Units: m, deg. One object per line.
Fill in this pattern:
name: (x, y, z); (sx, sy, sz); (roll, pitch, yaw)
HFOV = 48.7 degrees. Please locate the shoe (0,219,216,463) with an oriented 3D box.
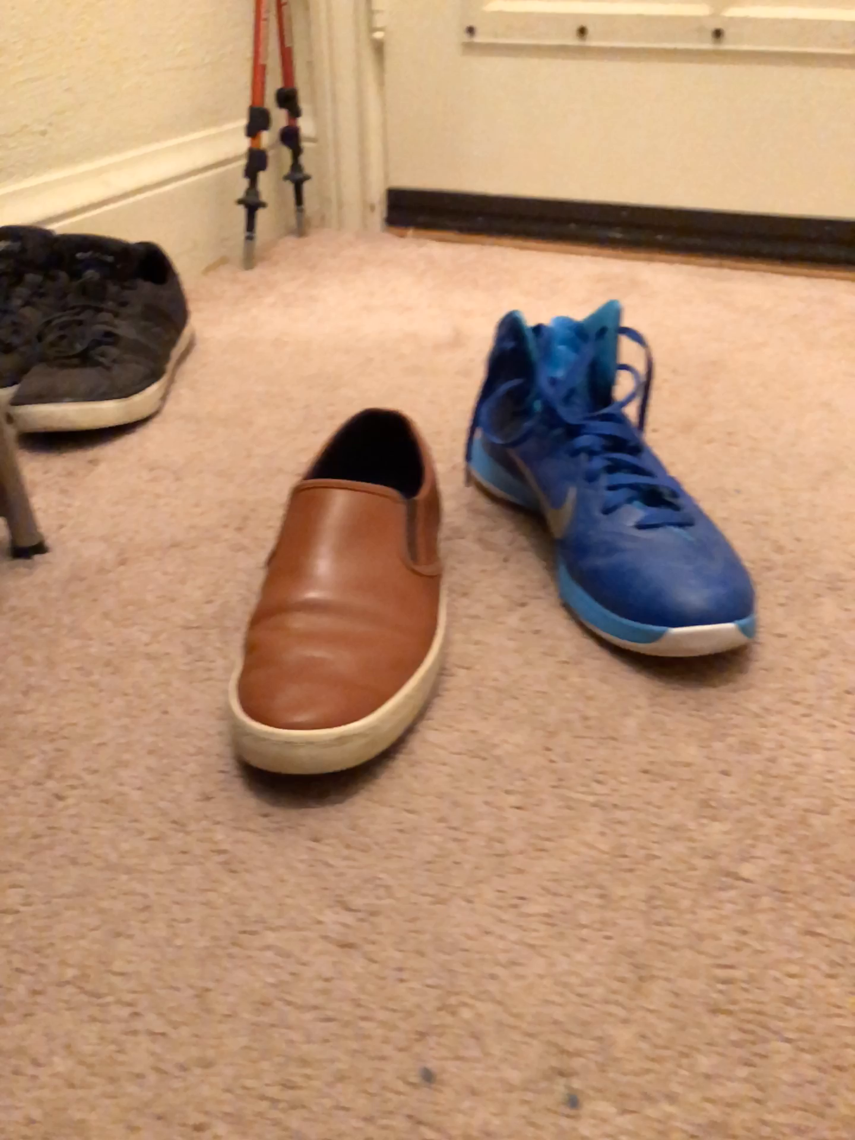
shoe: (-0.277, -0.213, 0.828); (0.115, 0.112, 0.294); (-1, 34, 0)

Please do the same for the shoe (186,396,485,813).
shoe: (-0.033, -0.002, 0.544); (0.105, 0.083, 0.284); (4, 34, 7)

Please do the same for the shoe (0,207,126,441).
shoe: (-0.377, -0.233, 0.850); (0.115, 0.112, 0.294); (-1, 34, 0)

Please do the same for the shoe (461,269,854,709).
shoe: (0.124, -0.072, 0.597); (0.115, 0.142, 0.294); (-10, 35, -14)
